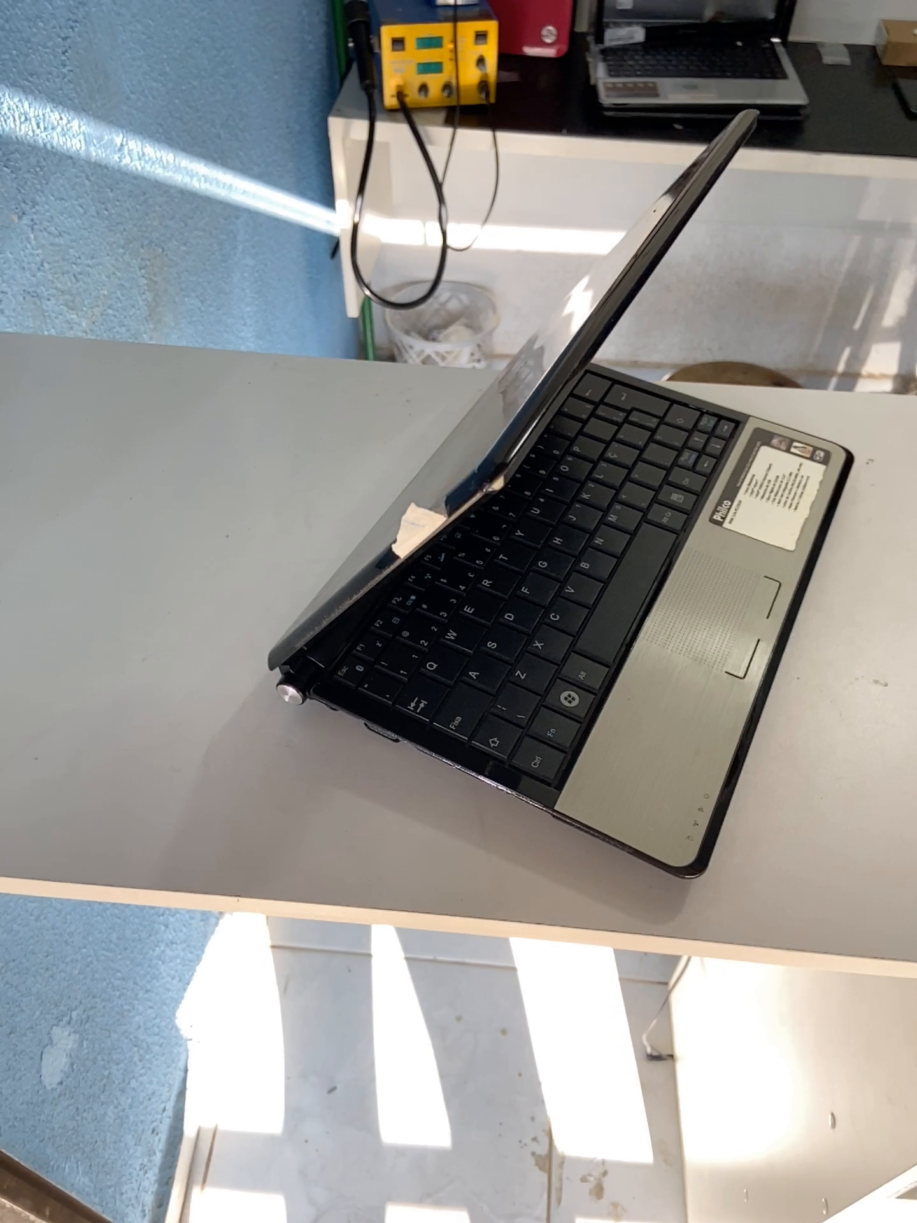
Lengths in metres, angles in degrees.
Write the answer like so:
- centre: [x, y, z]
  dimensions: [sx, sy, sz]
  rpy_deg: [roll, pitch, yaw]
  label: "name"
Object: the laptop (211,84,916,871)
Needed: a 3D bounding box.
- centre: [0.068, -0.077, 0.401]
  dimensions: [0.176, 0.144, 0.277]
  rpy_deg: [23, 52, 16]
  label: "laptop"
